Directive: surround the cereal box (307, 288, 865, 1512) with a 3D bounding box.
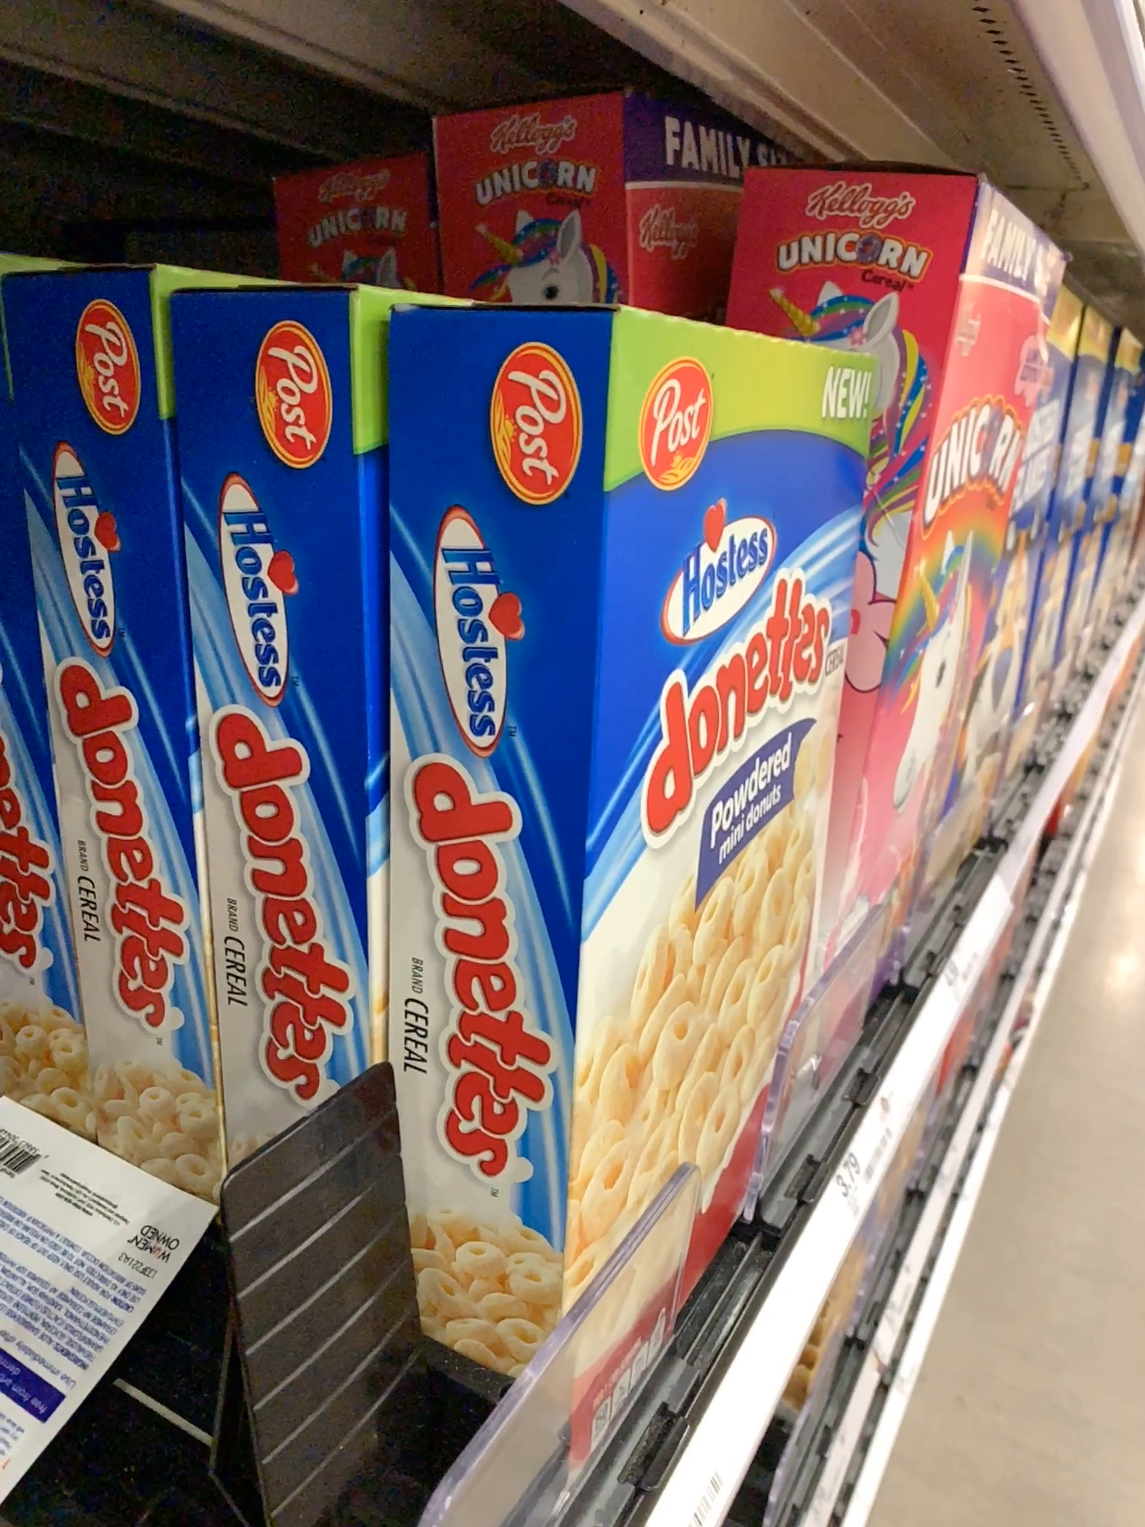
[{"bbox_3d":[0.014,0.019,0.336,0.060,0.269,0.191,11,18,26],"label":"cereal box"}]
